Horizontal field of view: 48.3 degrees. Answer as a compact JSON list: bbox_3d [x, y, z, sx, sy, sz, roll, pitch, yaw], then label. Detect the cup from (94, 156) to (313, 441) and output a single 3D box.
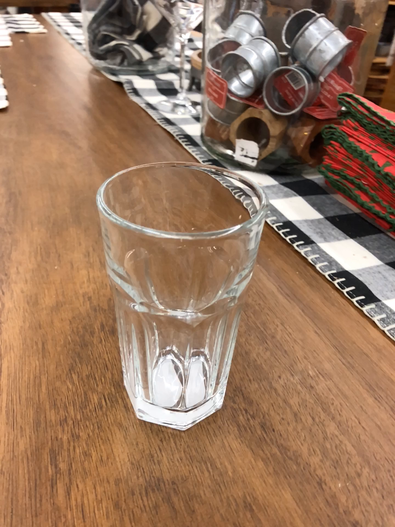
[{"bbox_3d":[-0.006,0.012,0.195,0.070,0.095,0.072,3,34,-2],"label":"cup"}]
